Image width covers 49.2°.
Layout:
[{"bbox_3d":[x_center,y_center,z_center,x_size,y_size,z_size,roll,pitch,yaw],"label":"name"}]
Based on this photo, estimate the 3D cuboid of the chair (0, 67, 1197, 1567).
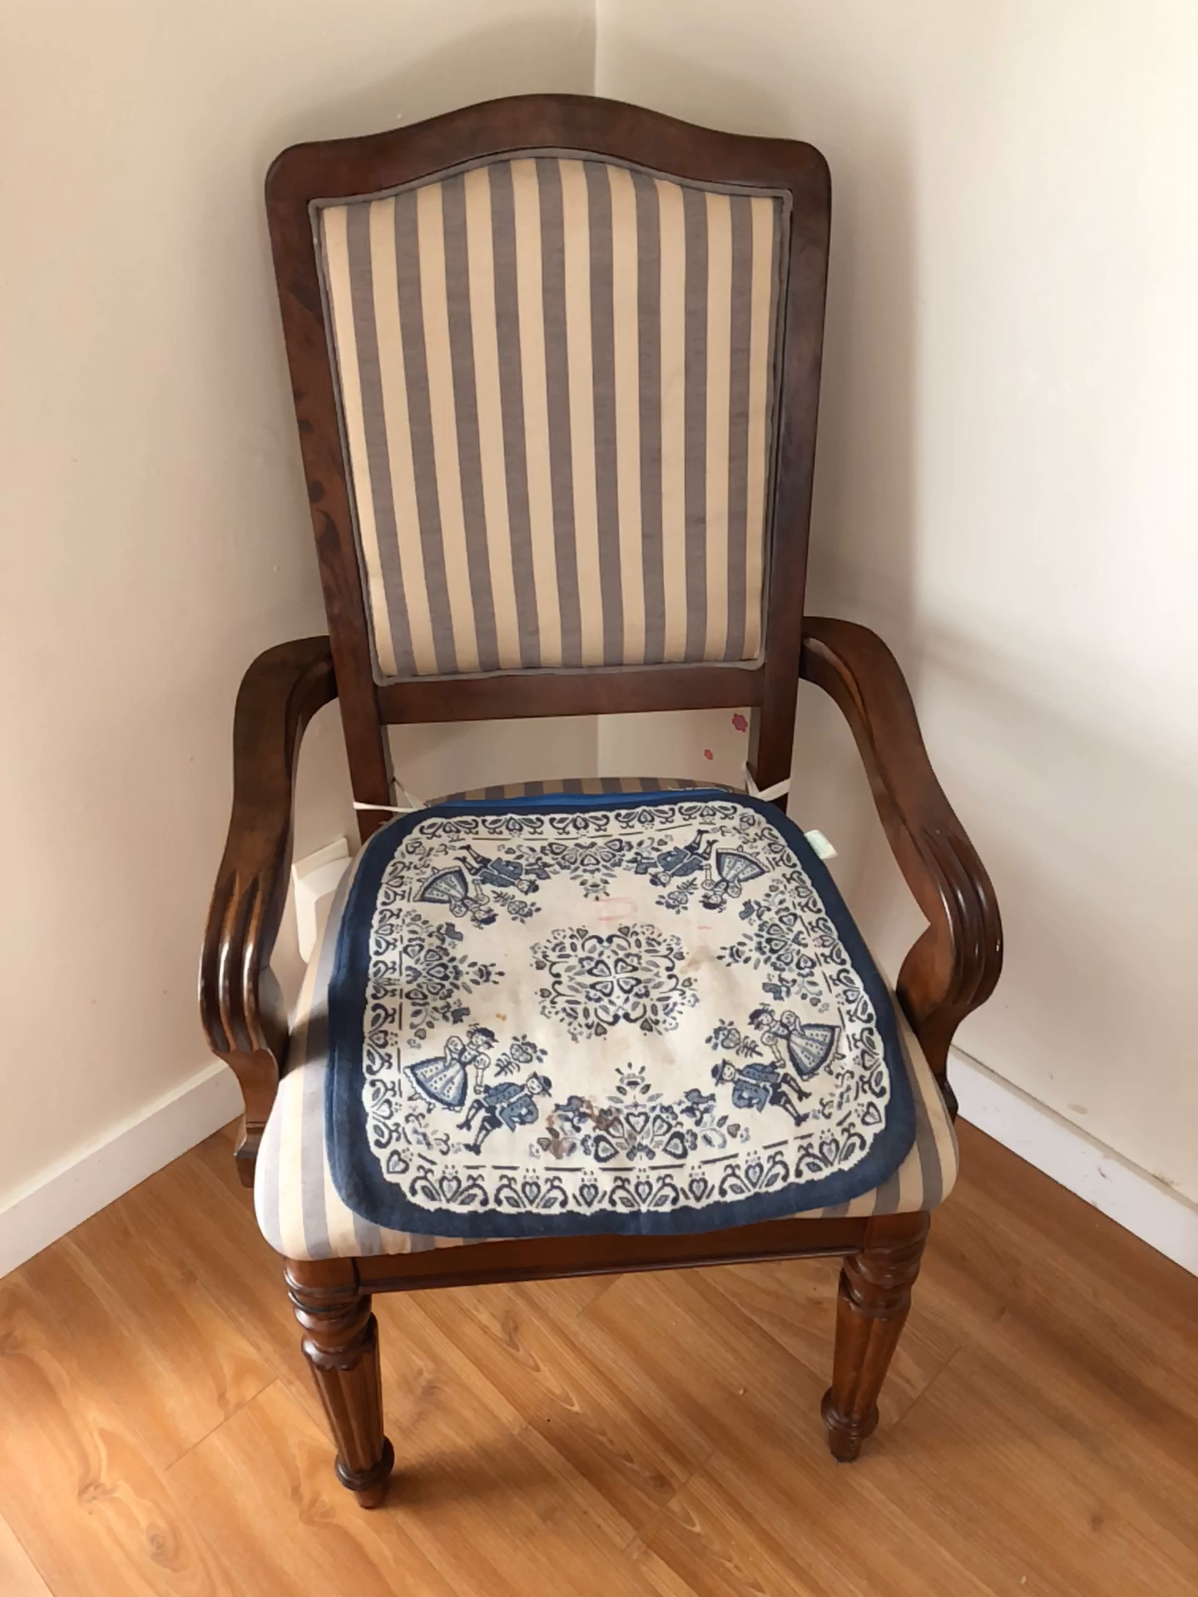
[{"bbox_3d":[-0.019,0.059,1.064,0.530,1.043,0.584,-5,39,-5],"label":"chair"}]
